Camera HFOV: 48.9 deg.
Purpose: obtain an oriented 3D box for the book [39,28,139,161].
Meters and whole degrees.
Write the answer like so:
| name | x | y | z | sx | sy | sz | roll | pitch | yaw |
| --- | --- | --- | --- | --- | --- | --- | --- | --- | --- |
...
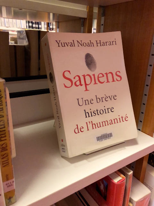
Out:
| name | x | y | z | sx | sy | sz | roll | pitch | yaw |
| --- | --- | --- | --- | --- | --- | --- | --- | --- | --- |
| book | 0.030 | -0.027 | 0.369 | 0.178 | 0.244 | 0.052 | -8 | -2 | -26 |
